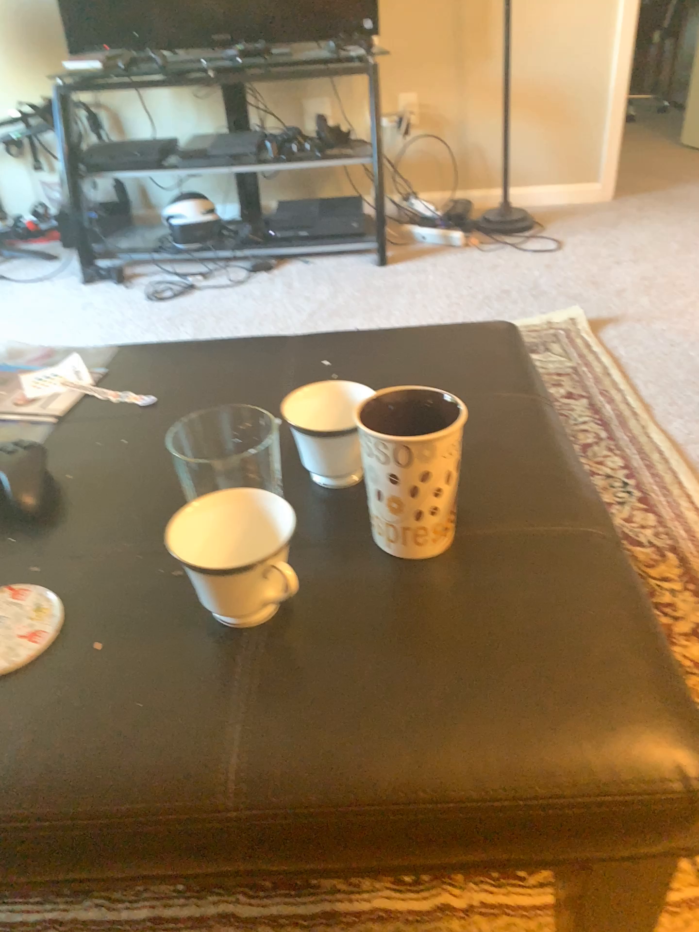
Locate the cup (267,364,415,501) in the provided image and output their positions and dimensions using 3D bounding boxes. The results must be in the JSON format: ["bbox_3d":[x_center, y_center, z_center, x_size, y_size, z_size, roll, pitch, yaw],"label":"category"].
[{"bbox_3d":[-0.009,-0.034,0.659,0.110,0.070,0.091,-13,35,-12],"label":"cup"}]

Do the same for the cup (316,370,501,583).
[{"bbox_3d":[0.049,0.004,0.571,0.100,0.109,0.100,-3,34,2],"label":"cup"}]

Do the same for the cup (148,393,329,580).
[{"bbox_3d":[-0.093,0.014,0.622,0.100,0.099,0.100,-3,34,2],"label":"cup"}]

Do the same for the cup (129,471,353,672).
[{"bbox_3d":[-0.077,0.071,0.526,0.120,0.060,0.100,21,42,33],"label":"cup"}]
